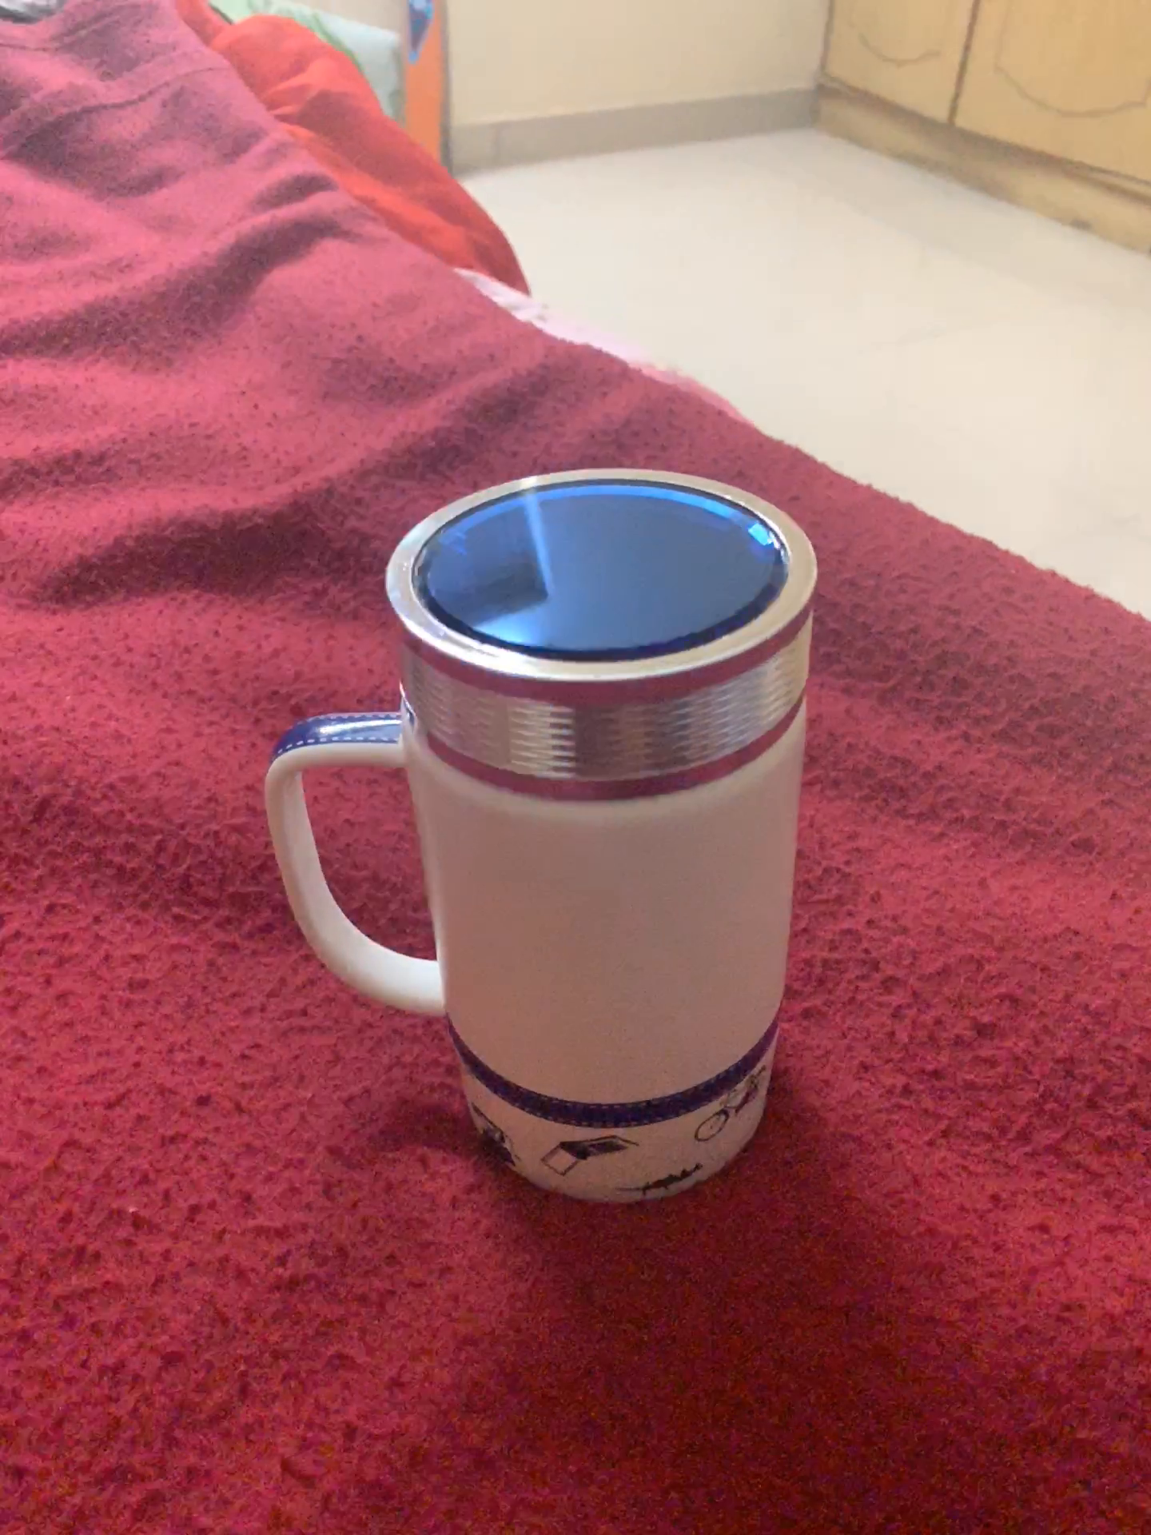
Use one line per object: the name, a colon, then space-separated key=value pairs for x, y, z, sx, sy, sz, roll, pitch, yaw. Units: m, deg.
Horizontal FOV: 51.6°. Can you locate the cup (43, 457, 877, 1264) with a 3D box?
cup: x=-0.013 y=0.021 z=0.247 sx=0.120 sy=0.139 sz=0.091 roll=0 pitch=37 yaw=4
